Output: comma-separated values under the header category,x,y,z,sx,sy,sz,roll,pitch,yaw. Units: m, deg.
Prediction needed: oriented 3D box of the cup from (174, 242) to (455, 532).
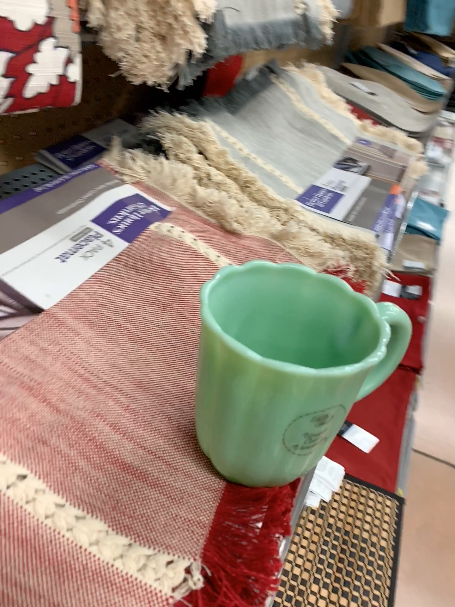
category,x,y,z,sx,sy,sz,roll,pitch,yaw
cup,0.050,0.034,0.245,0.130,0.090,0.090,-7,37,-22
